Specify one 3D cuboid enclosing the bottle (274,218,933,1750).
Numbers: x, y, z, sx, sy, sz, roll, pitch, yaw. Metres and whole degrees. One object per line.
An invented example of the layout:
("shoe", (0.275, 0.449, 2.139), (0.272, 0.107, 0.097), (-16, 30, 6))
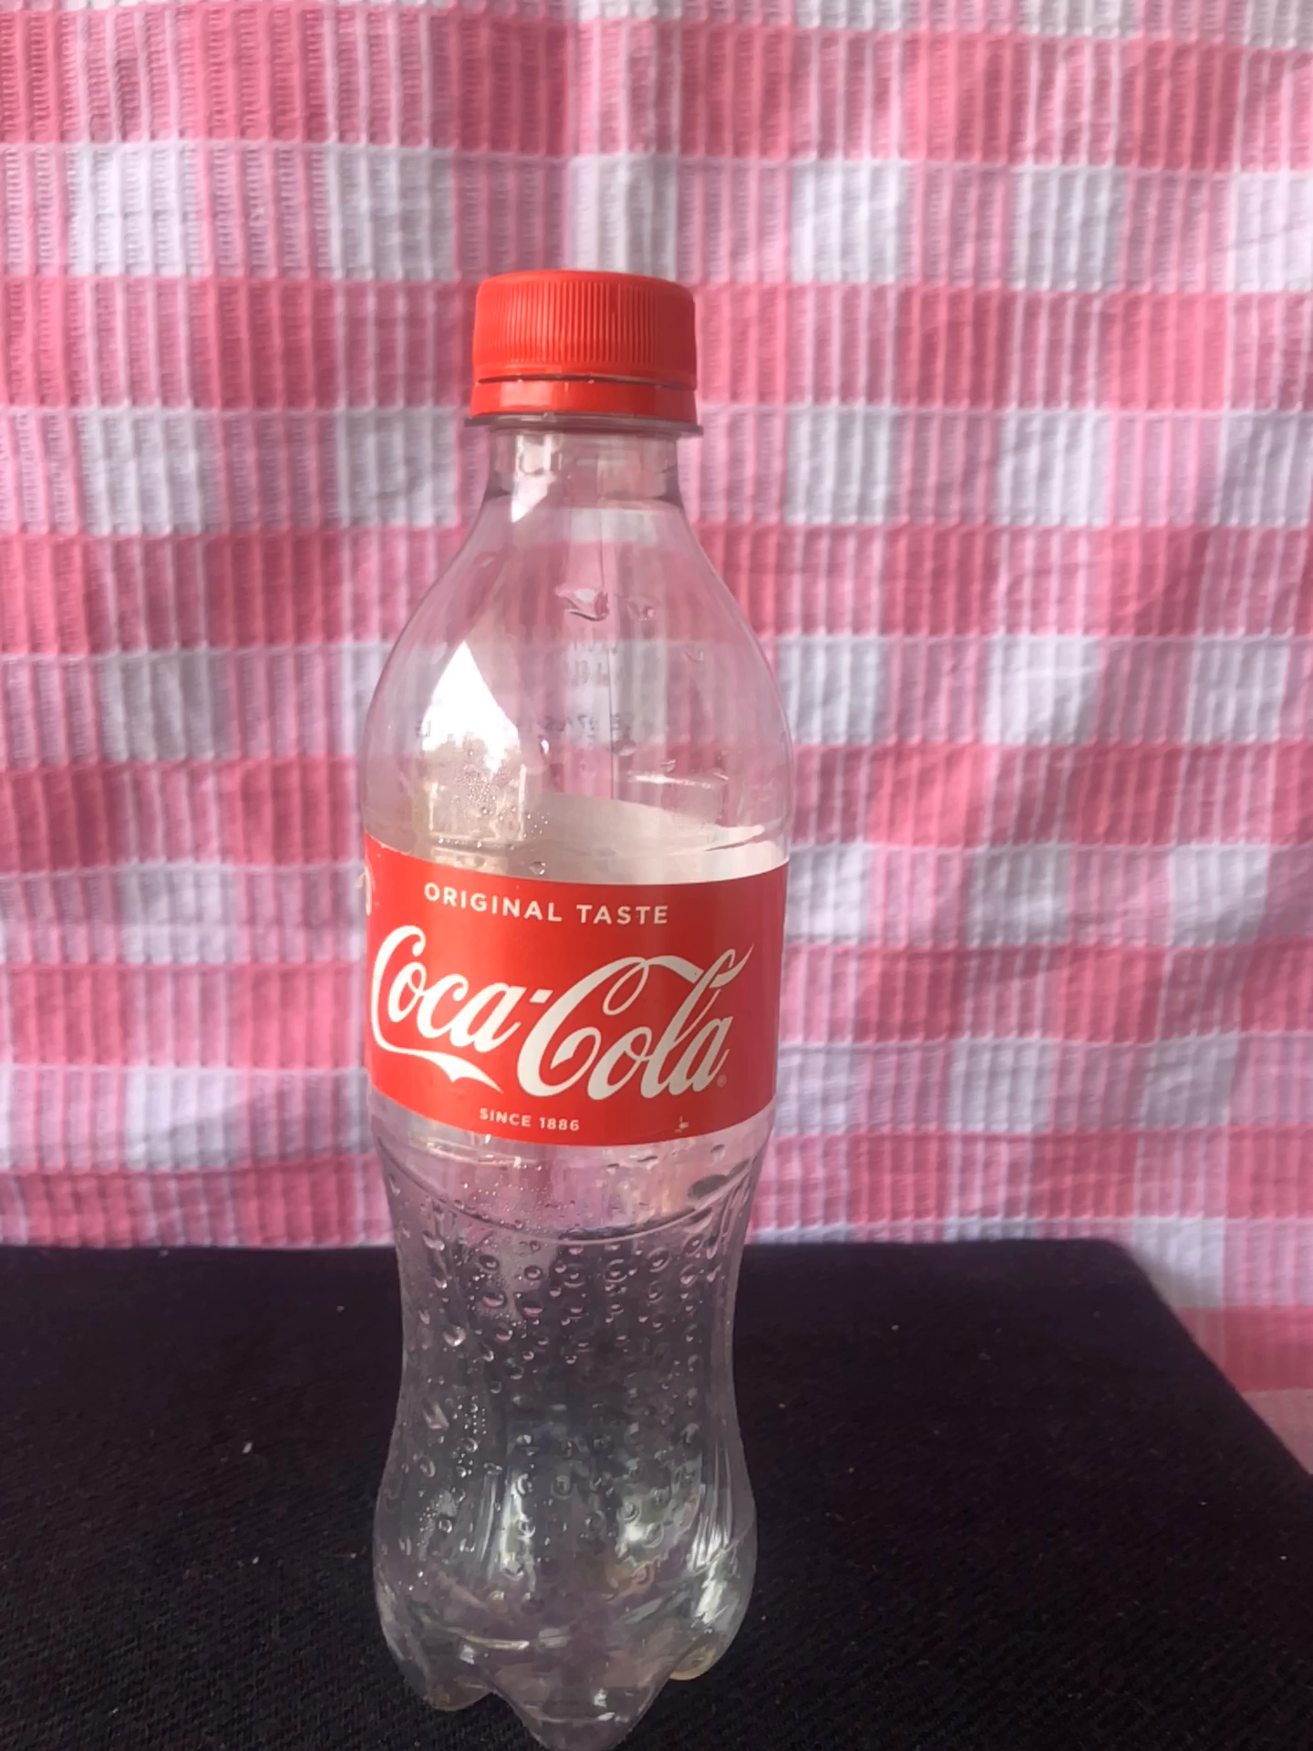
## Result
("bottle", (-0.008, 0.019, 0.199), (0.060, 0.189, 0.060), (3, 15, -1))
